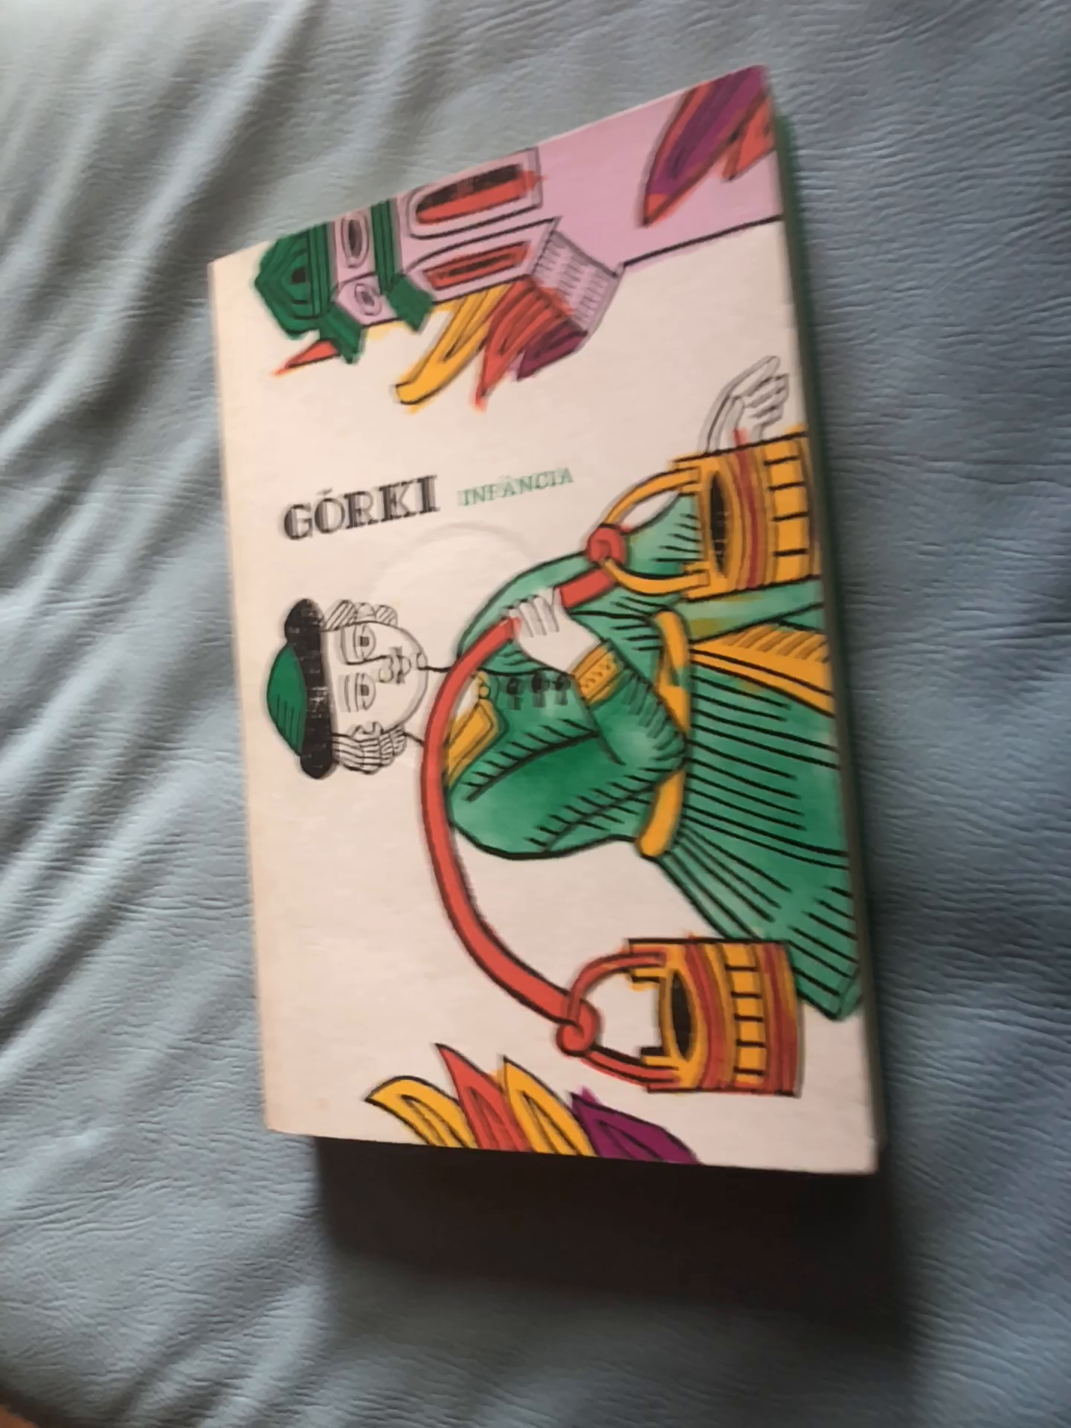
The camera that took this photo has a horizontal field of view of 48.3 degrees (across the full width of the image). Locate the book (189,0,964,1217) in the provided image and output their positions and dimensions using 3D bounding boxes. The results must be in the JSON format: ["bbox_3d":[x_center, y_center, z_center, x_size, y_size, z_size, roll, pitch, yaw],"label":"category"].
[{"bbox_3d":[0.000,-0.016,0.229,0.130,0.030,0.200,-7,85,26],"label":"book"}]
